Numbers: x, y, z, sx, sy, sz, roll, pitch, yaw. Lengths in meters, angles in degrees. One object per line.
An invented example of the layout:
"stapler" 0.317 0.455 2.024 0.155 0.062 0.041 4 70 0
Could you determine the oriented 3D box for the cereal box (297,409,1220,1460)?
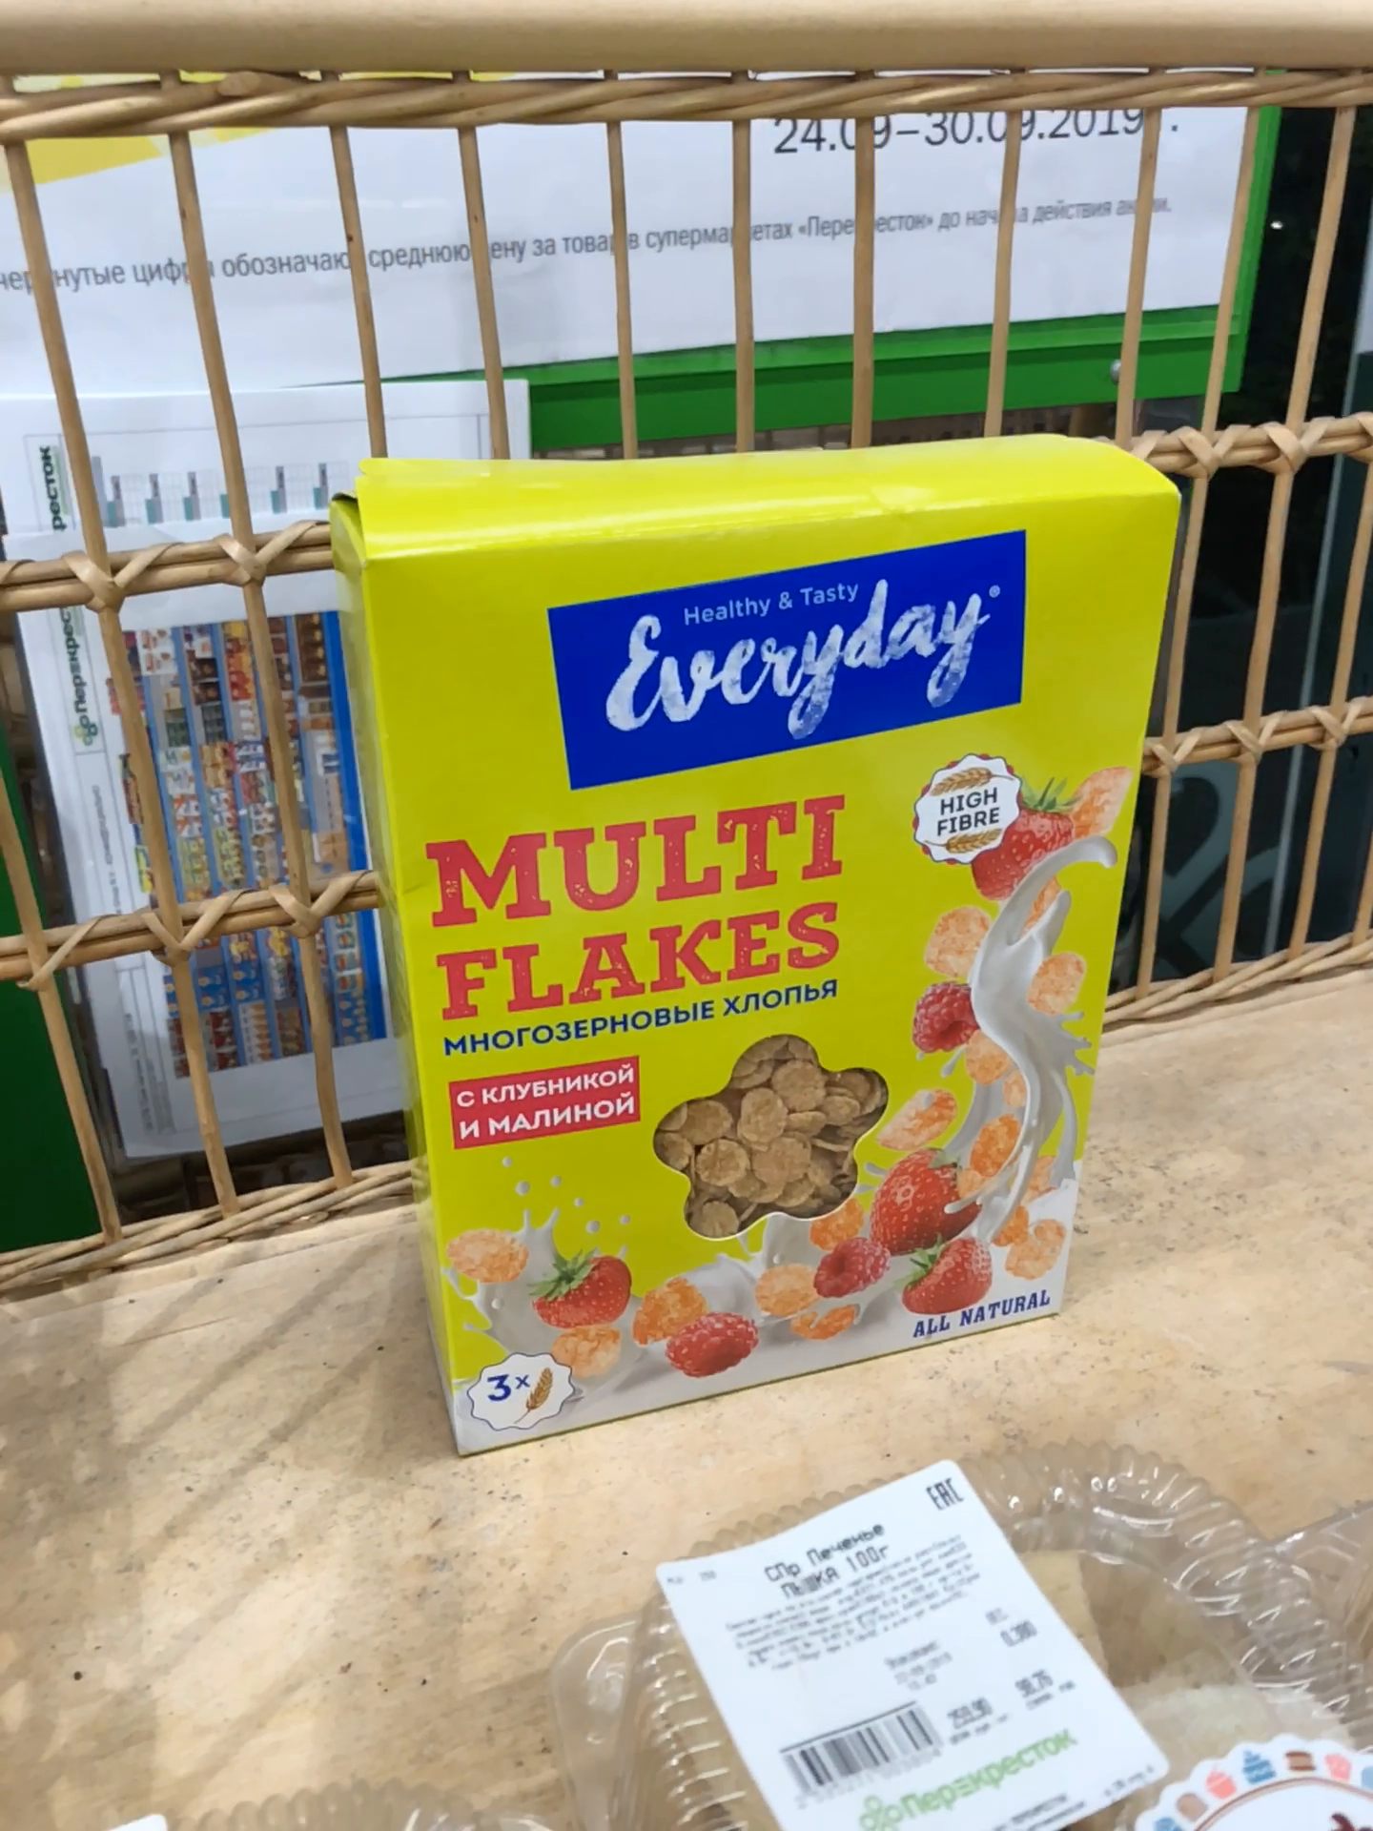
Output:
"cereal box" 0.015 0.007 0.367 0.180 0.229 0.060 -9 30 -14
